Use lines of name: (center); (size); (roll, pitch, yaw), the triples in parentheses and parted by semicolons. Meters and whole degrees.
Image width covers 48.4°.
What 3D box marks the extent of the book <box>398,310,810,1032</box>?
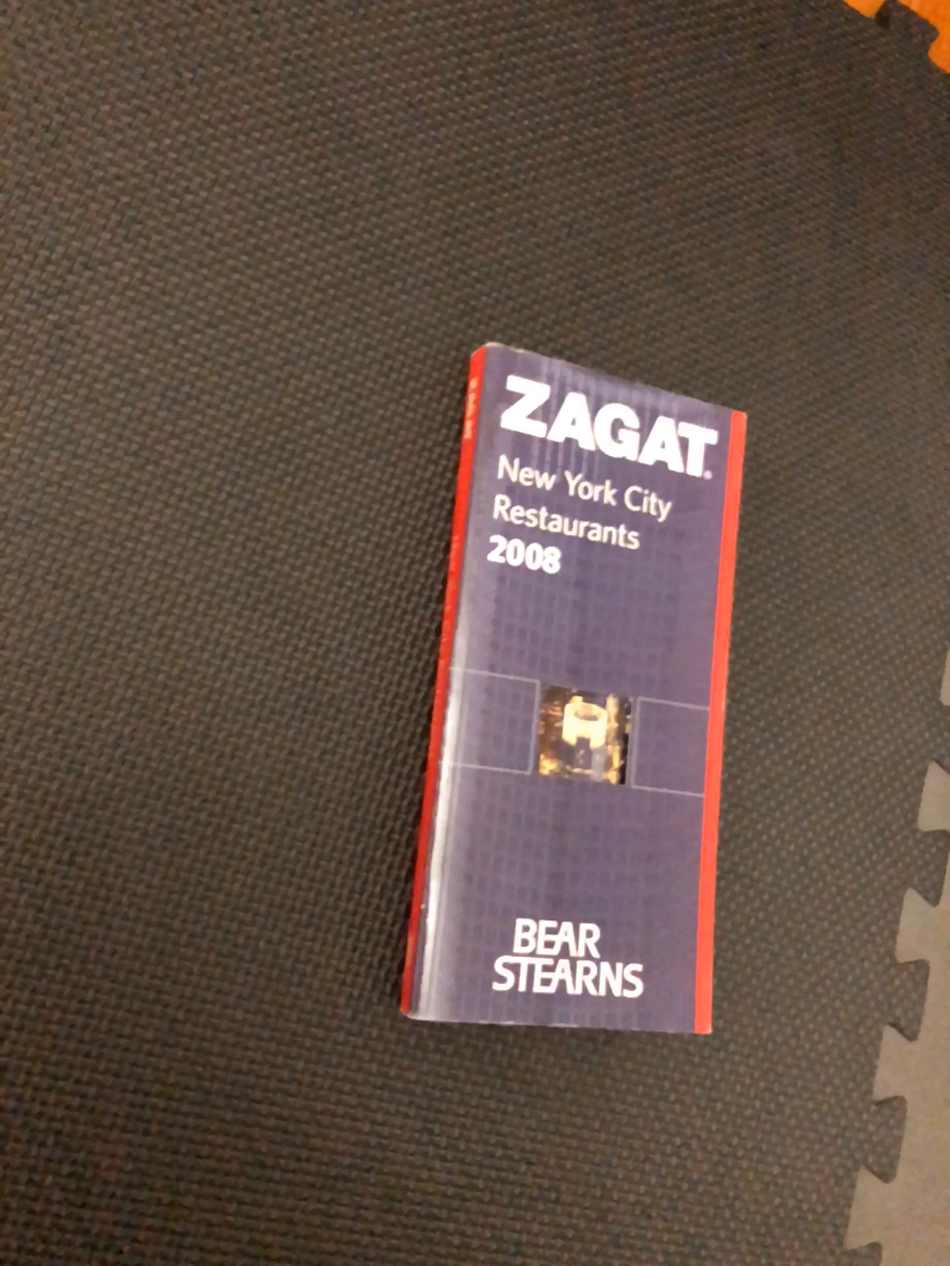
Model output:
book: (0.048, 0.016, 0.356); (0.120, 0.030, 0.220); (9, 82, -22)
